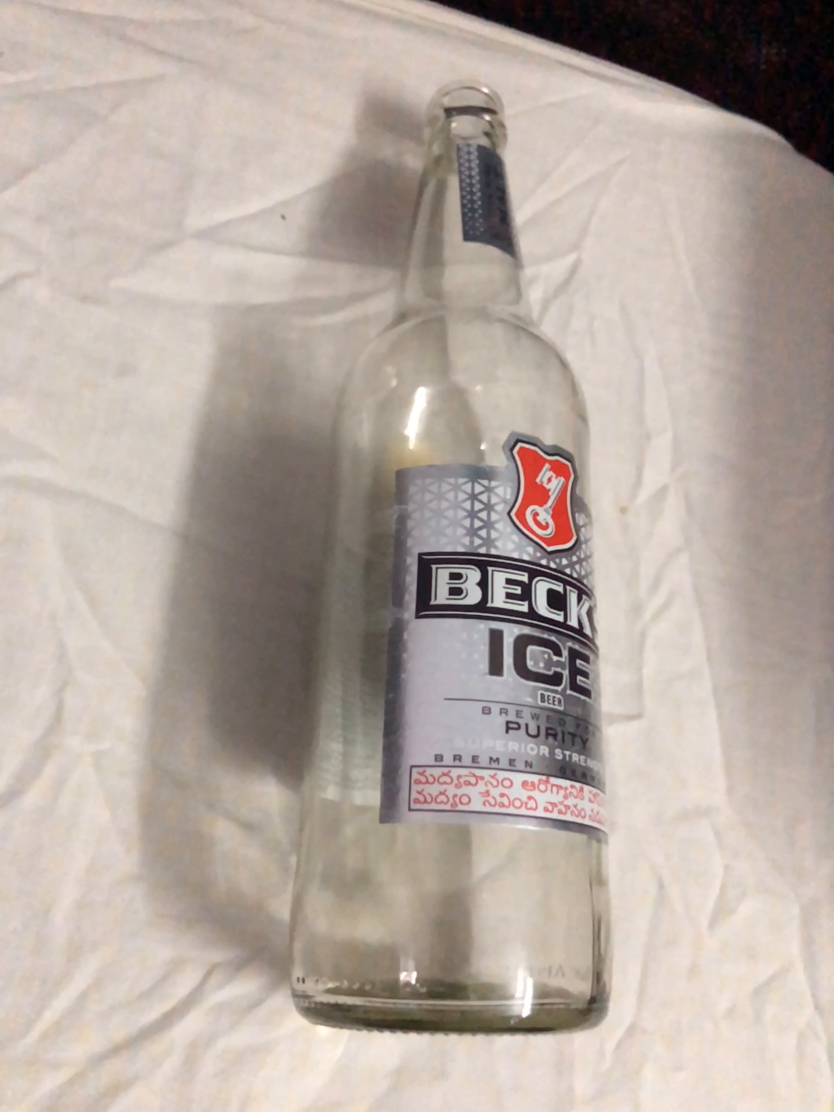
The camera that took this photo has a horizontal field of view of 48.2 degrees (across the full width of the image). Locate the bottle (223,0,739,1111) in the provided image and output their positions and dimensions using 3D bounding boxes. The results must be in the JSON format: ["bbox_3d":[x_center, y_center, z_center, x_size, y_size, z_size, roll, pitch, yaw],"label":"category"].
[{"bbox_3d":[0.013,-0.028,0.227,0.080,0.080,0.280,8,73,-16],"label":"bottle"}]
